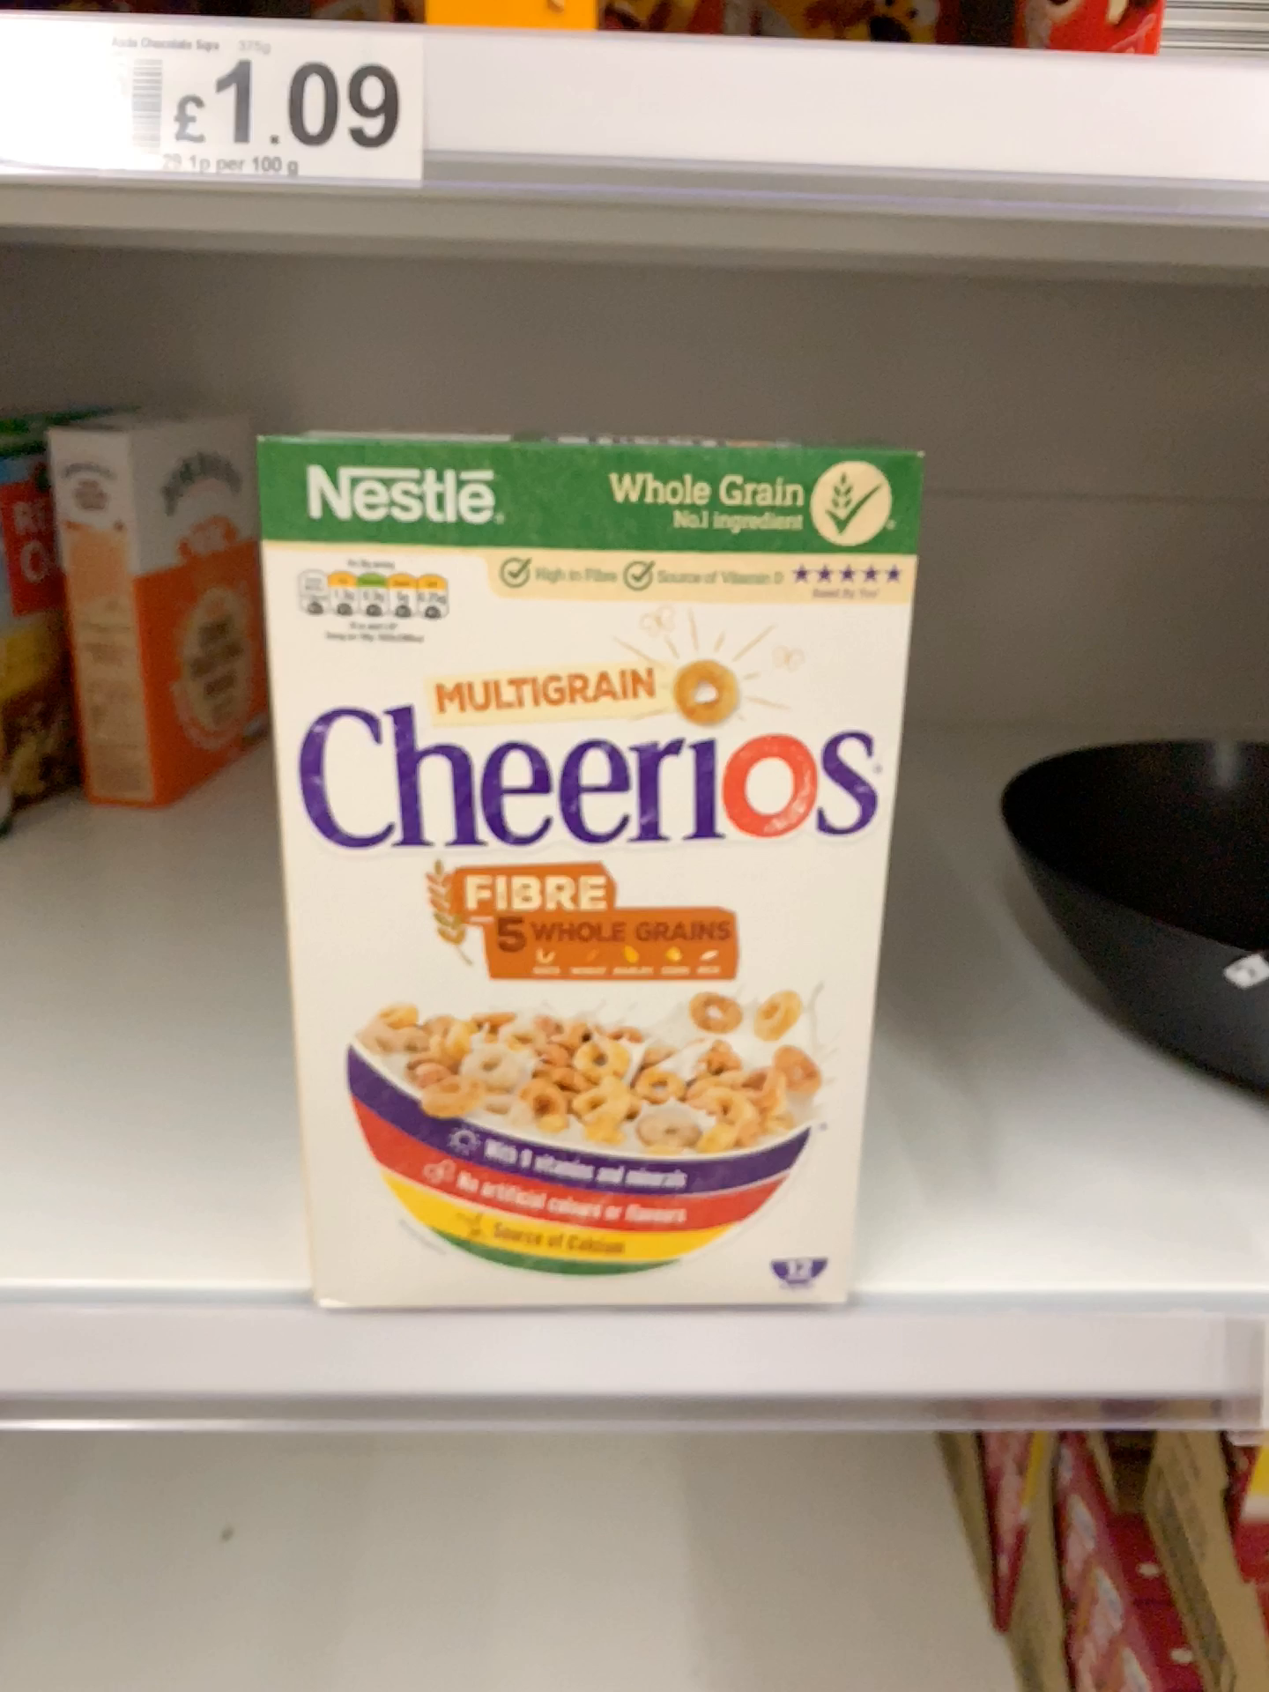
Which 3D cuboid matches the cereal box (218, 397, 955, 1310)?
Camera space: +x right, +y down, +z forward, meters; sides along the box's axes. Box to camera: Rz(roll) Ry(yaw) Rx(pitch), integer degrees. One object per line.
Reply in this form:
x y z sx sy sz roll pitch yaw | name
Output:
-0.017 0.007 0.438 0.200 0.288 0.070 1 18 -3 | cereal box
